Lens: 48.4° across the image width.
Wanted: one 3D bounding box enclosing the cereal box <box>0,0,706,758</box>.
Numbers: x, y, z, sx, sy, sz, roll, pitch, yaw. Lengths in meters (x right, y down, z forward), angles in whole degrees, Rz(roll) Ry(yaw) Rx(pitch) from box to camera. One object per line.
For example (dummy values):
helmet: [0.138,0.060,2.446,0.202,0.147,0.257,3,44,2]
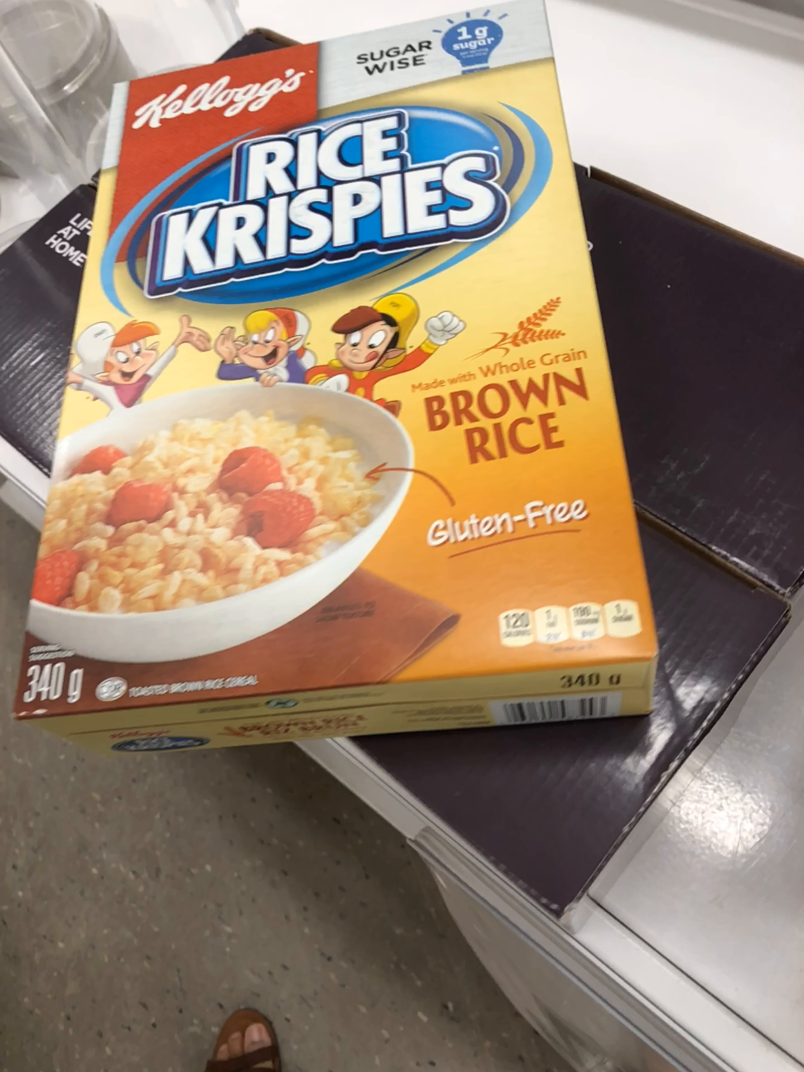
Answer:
cereal box: [-0.029,-0.092,0.375,0.220,0.070,0.330,-8,61,5]
